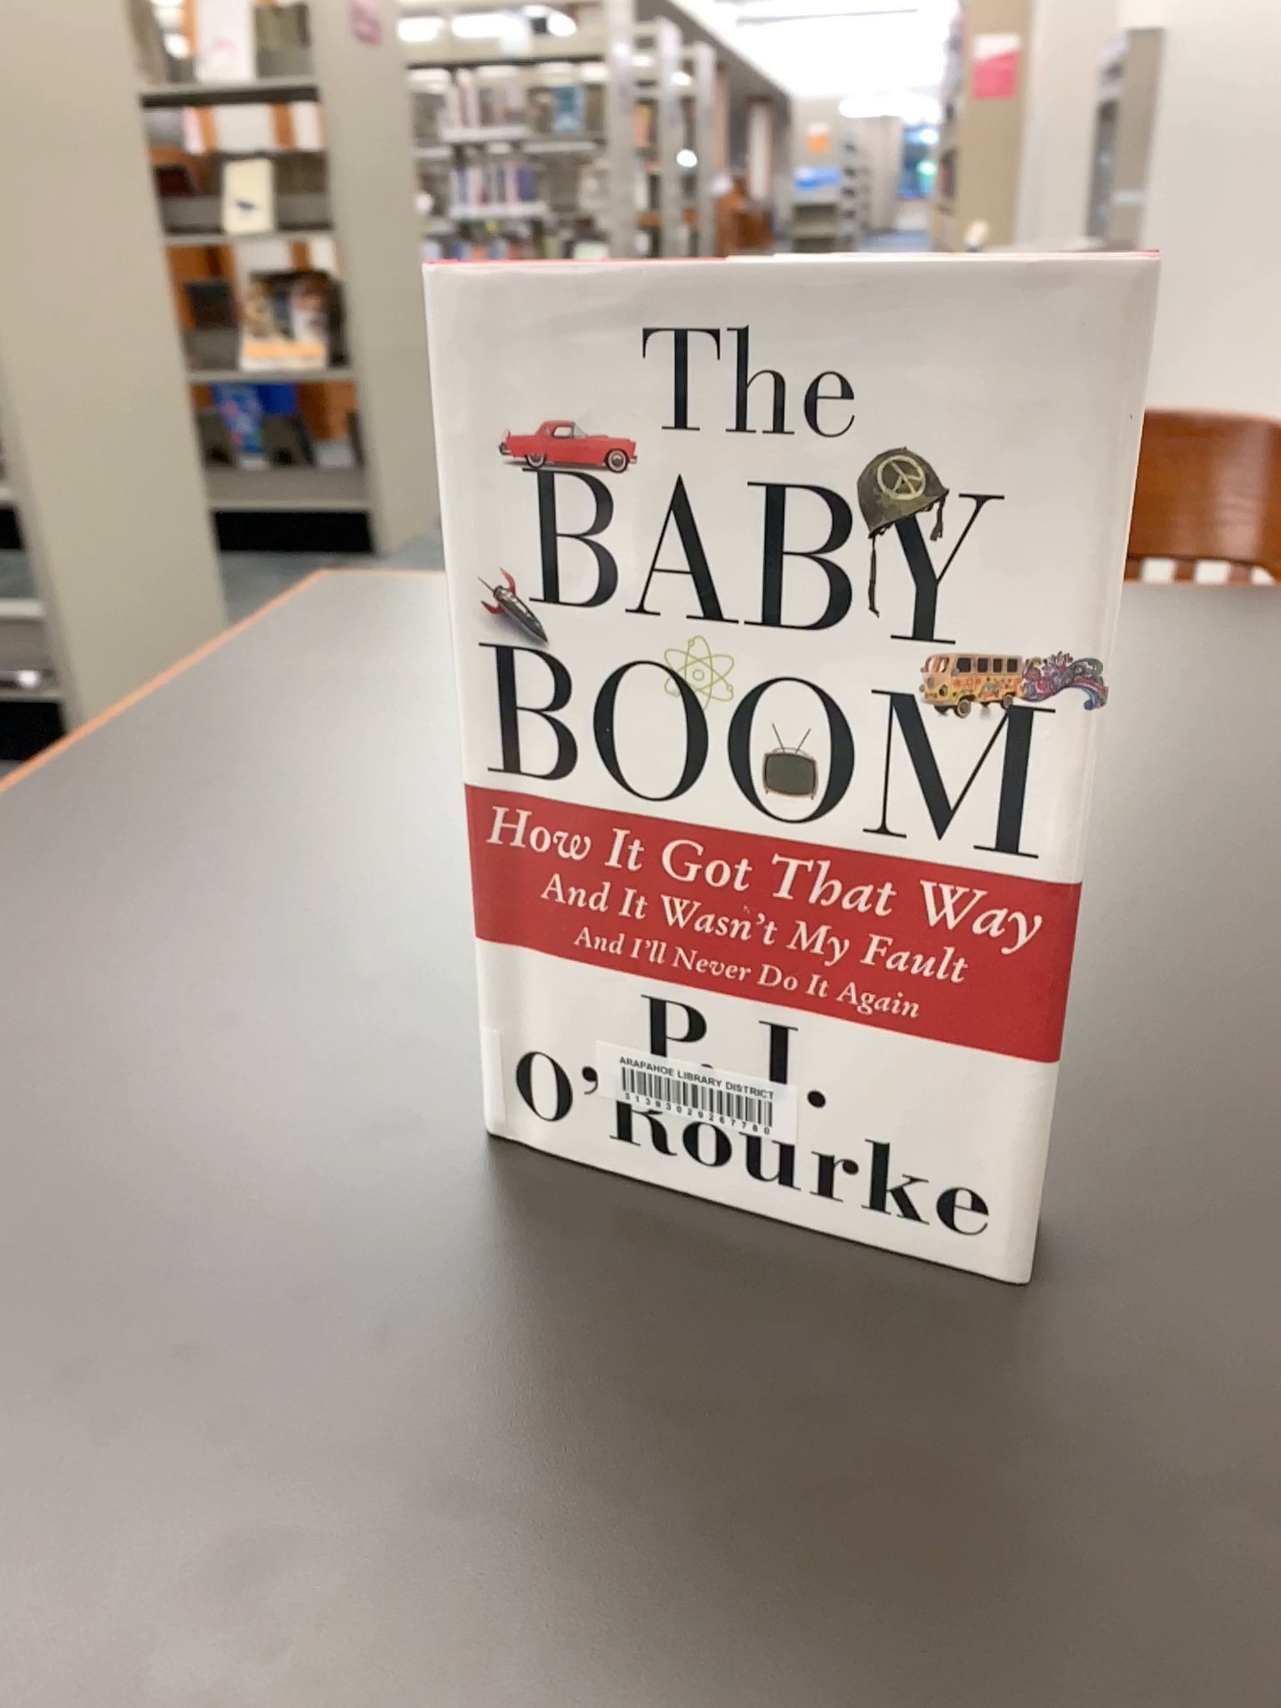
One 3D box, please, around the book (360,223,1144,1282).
[{"bbox_3d":[0.019,-0.021,0.318,0.160,0.231,0.030,9,25,22],"label":"book"}]
